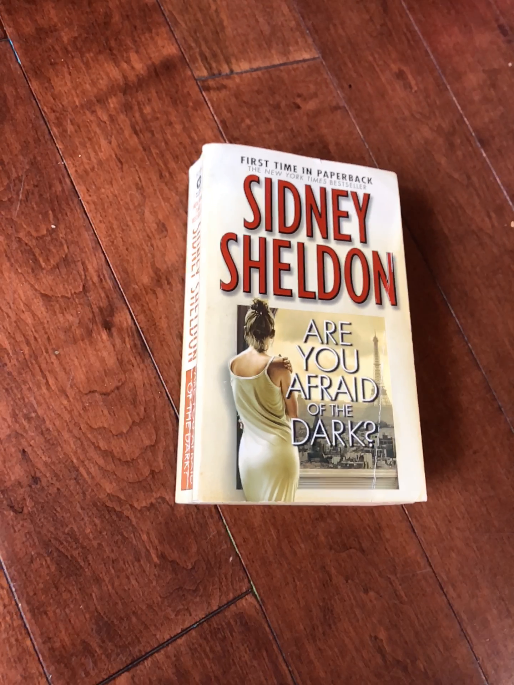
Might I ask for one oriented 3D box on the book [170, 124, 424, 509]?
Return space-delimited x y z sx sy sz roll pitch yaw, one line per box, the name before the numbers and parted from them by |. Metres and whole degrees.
book | 0.017 -0.011 0.286 0.108 0.040 0.180 5 73 -15
